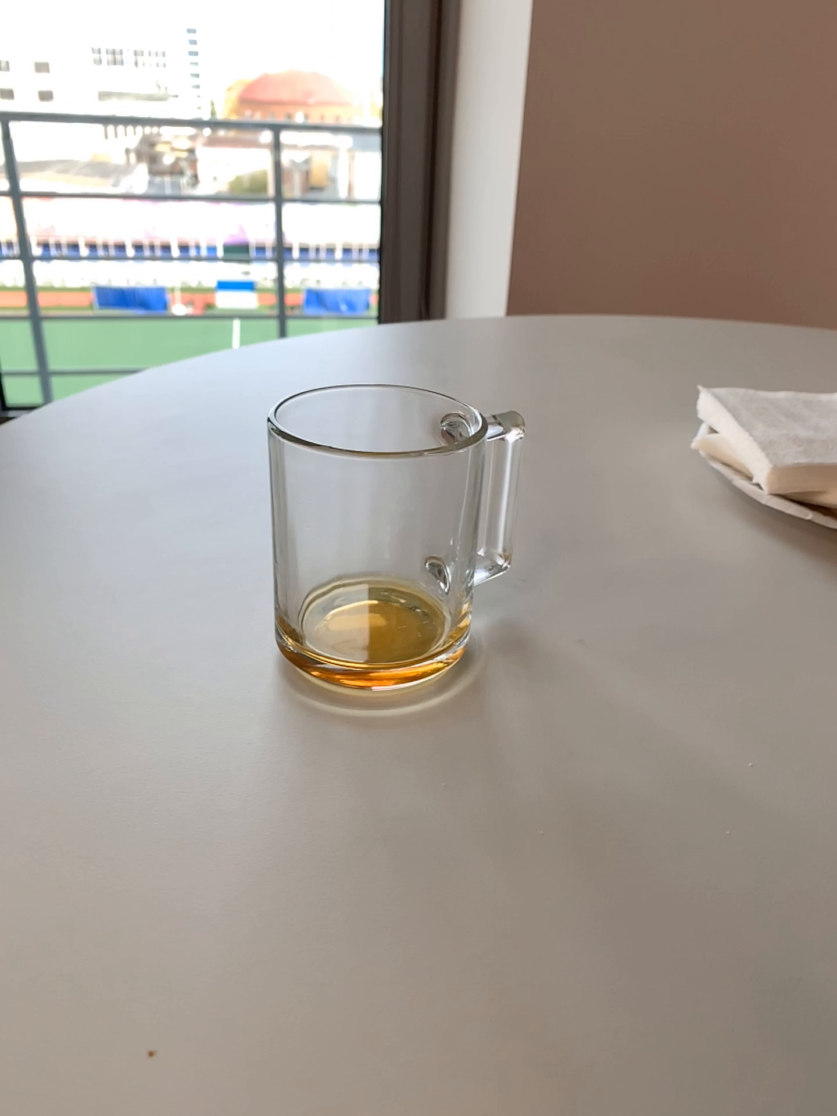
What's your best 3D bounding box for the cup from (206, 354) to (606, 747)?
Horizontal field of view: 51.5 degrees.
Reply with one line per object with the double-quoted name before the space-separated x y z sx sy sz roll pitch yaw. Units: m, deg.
"cup" -0.007 -0.011 0.302 0.101 0.090 0.082 -16 33 -31
